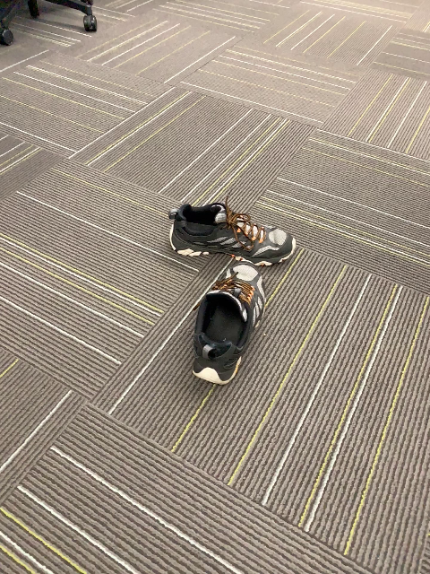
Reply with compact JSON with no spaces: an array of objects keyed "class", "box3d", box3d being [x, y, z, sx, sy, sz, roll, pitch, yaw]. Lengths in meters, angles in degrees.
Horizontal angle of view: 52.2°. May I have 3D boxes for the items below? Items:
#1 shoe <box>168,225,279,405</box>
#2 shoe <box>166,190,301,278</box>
[{"class":"shoe","box3d":[0.028,0.047,0.936,0.140,0.149,0.342,13,50,9]},{"class":"shoe","box3d":[0.045,-0.129,1.062,0.300,0.119,0.121,9,49,6]}]
